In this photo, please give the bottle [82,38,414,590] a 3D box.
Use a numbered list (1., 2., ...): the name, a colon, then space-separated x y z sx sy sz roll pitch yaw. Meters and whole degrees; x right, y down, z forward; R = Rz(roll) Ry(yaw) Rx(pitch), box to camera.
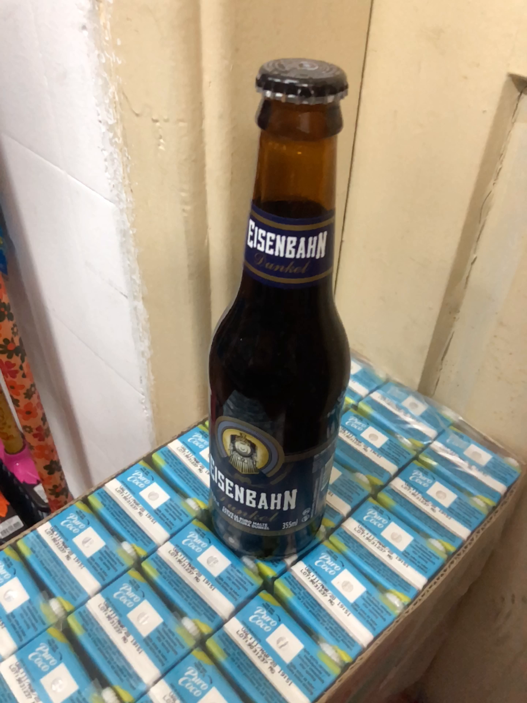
1. bottle: -0.004 0.001 0.224 0.070 0.198 0.060 20 44 20
